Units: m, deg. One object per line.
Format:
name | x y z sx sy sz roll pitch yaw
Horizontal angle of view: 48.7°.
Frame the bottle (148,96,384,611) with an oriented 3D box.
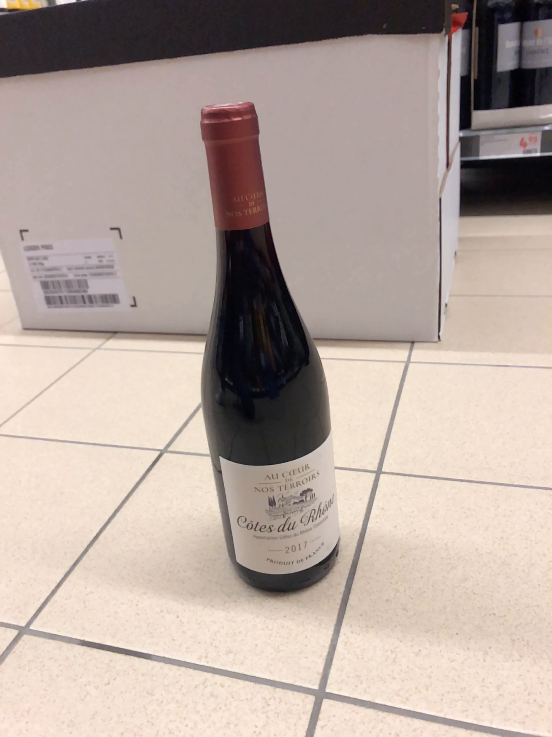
bottle | -0.001 -0.003 0.350 0.090 0.269 0.090 -6 26 3
